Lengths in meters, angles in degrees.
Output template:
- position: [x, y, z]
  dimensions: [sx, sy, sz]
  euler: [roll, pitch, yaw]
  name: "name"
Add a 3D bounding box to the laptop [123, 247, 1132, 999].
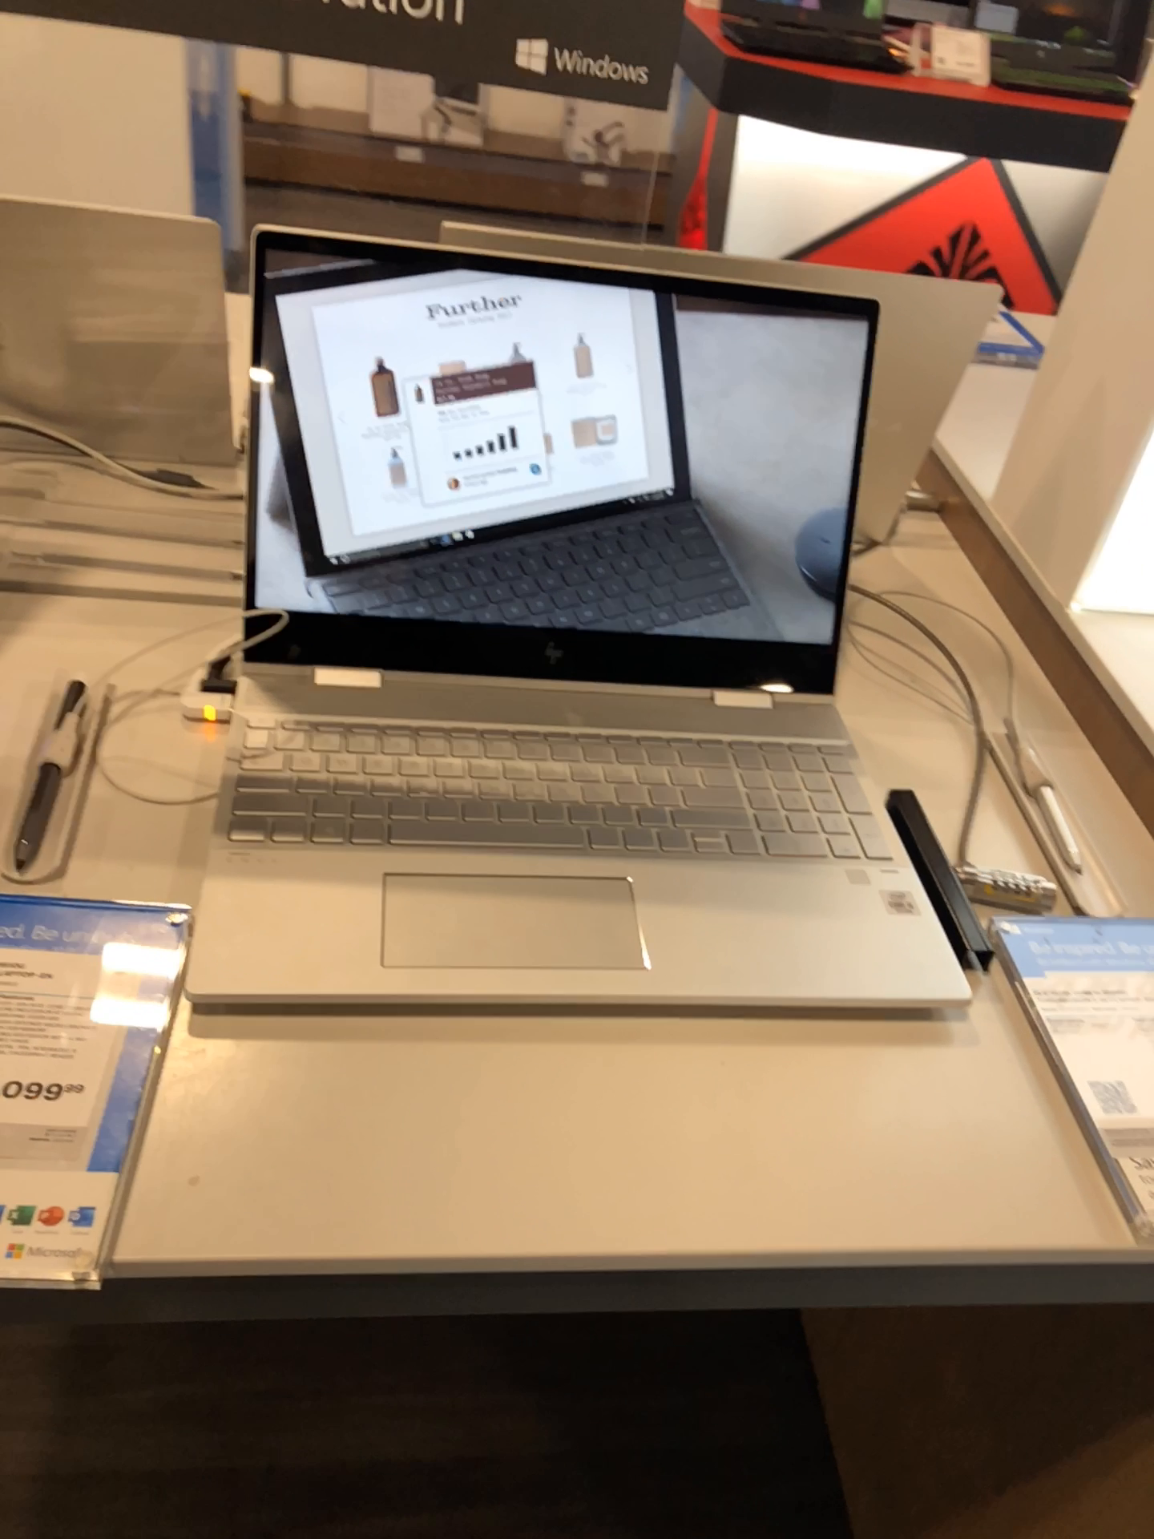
- position: [-0.003, -0.088, 0.644]
  dimensions: [0.358, 0.210, 0.355]
  euler: [2, 37, -9]
  name: "laptop"
